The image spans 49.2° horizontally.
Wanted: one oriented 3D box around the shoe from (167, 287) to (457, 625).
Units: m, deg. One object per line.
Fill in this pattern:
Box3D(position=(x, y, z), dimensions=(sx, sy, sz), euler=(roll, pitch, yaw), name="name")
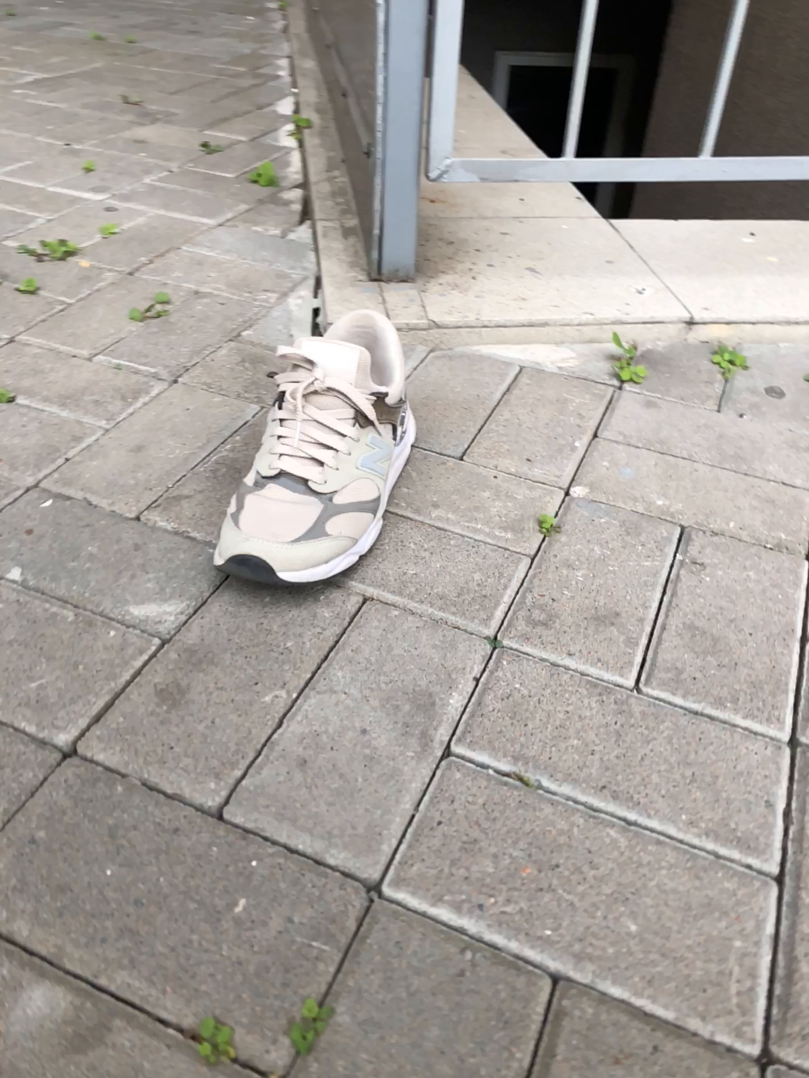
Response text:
Box3D(position=(-0.054, -0.084, 0.693), dimensions=(0.120, 0.109, 0.302), euler=(11, 38, 11), name="shoe")
